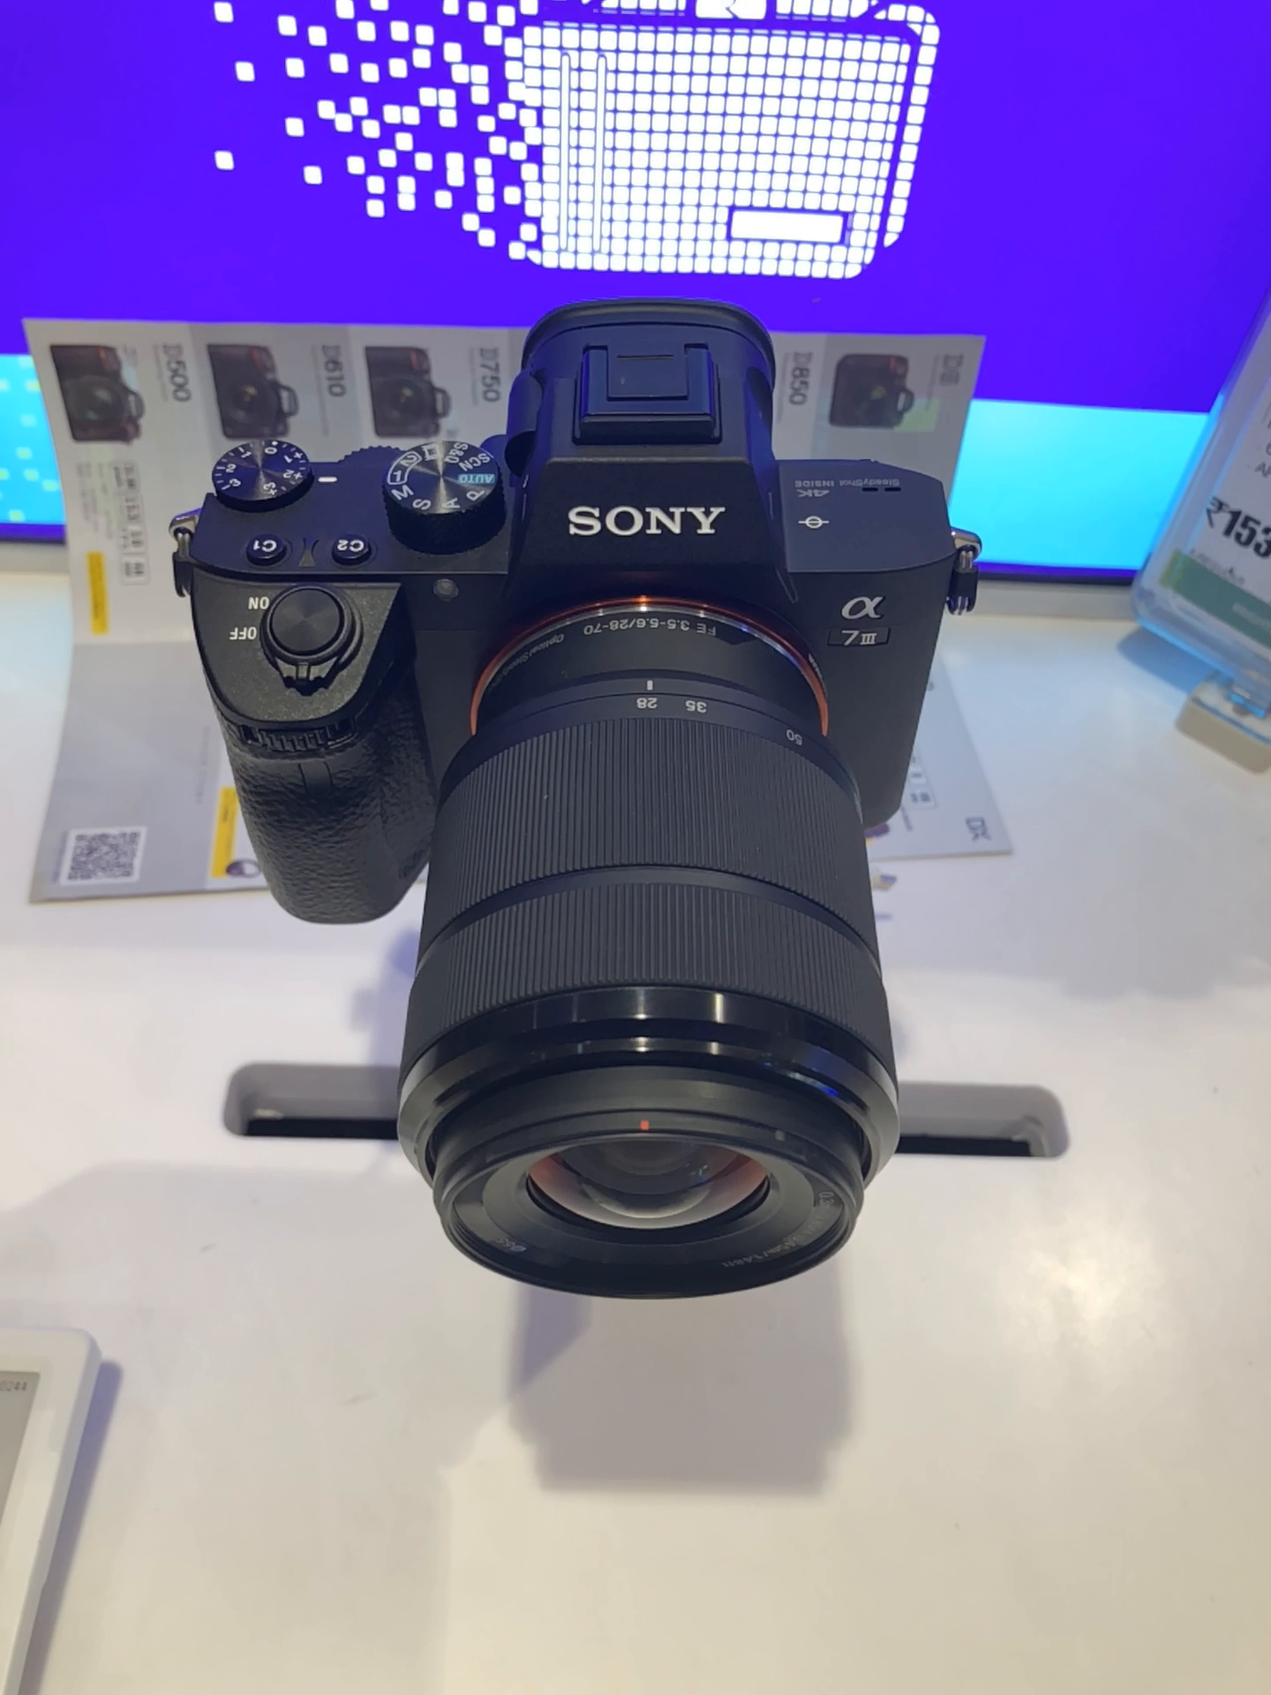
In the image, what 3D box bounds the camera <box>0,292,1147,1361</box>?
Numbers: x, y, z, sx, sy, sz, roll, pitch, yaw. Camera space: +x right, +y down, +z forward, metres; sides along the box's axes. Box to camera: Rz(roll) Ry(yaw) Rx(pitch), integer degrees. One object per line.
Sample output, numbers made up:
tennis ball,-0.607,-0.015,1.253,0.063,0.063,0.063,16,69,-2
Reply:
camera,-0.014,-0.006,0.230,0.120,0.109,0.128,-2,49,-7
